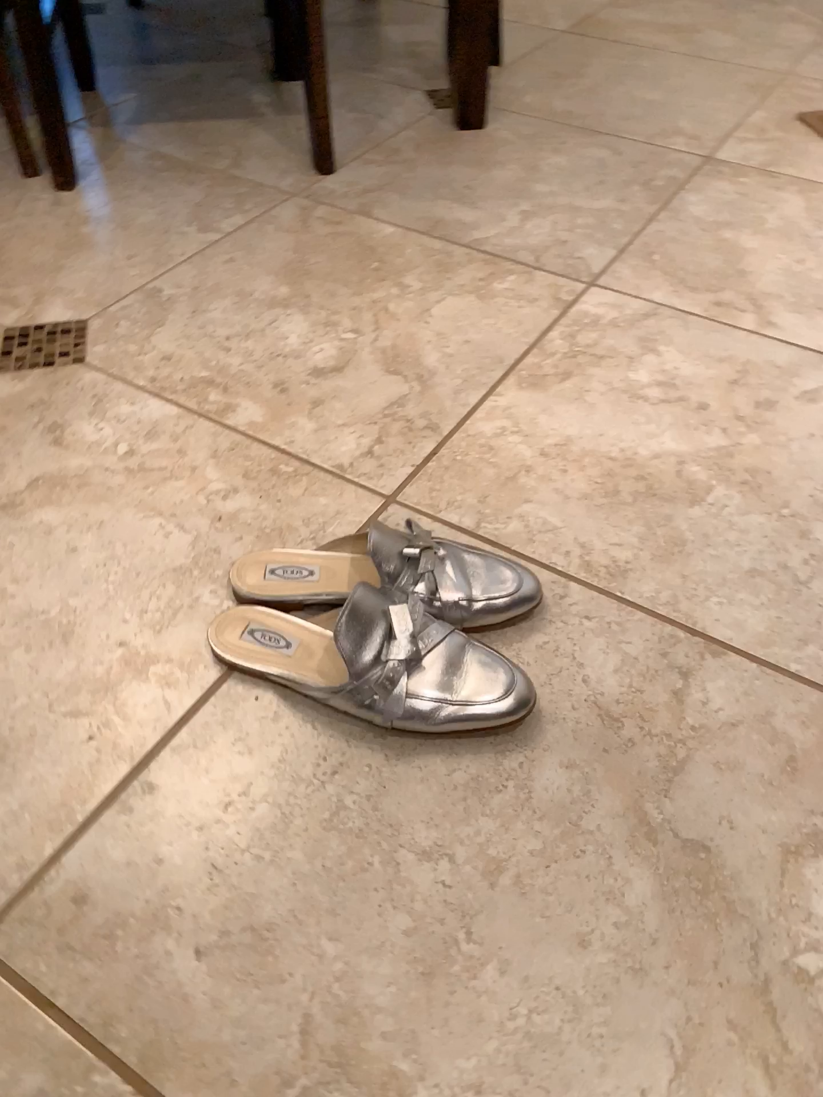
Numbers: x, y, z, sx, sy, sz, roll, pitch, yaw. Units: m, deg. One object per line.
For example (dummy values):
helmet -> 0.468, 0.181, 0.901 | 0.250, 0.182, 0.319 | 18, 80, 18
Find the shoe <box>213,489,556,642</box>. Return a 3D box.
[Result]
shoe -> -0.021, 0.014, 0.744 | 0.280, 0.077, 0.092 | 3, 46, 2

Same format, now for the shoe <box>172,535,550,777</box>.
shoe -> -0.039, 0.083, 0.685 | 0.277, 0.077, 0.102 | 14, 48, 12
